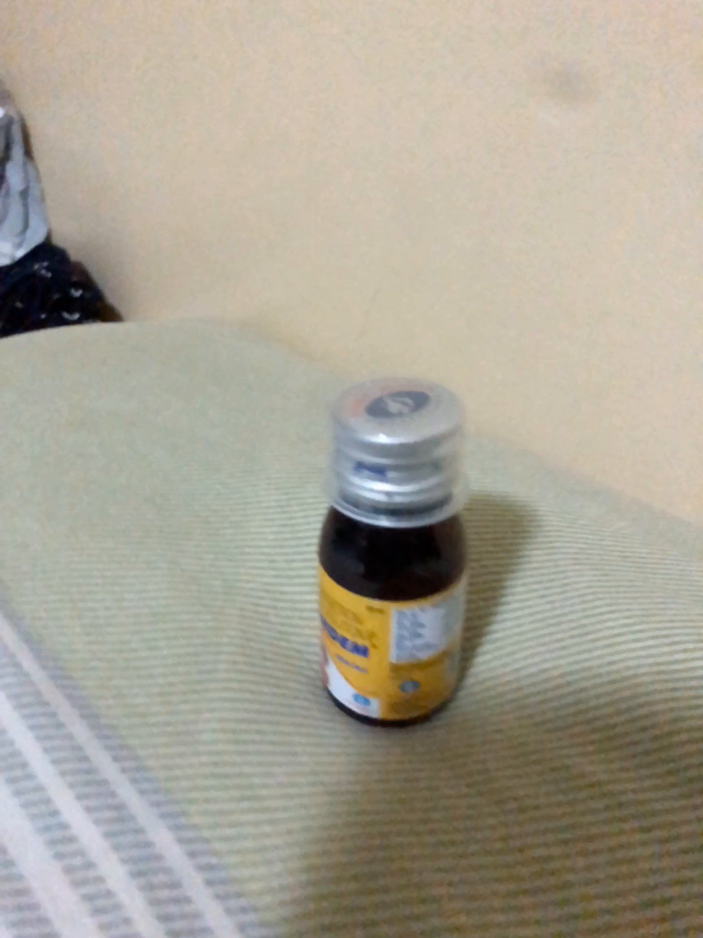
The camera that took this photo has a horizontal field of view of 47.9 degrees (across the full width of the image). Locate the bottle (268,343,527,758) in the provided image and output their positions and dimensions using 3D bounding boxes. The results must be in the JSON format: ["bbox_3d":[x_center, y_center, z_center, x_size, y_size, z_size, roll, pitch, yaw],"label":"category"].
[{"bbox_3d":[0.009,0.017,0.175,0.038,0.076,0.037,-1,30,1],"label":"bottle"}]
